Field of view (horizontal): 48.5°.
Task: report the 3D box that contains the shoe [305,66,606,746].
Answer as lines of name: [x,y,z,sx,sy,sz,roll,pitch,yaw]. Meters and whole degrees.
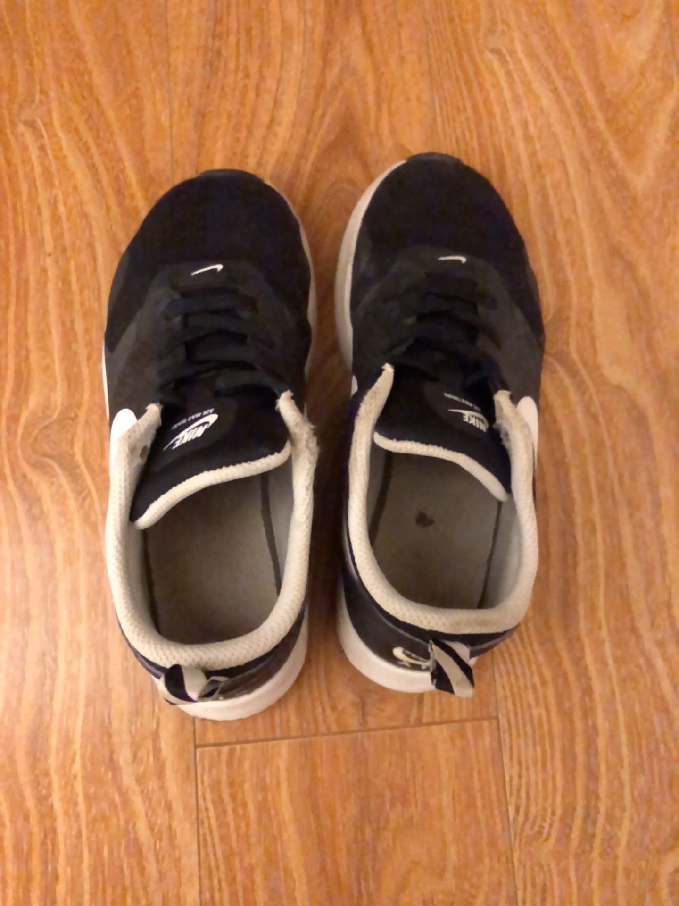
shoe: [0.043,-0.017,0.297,0.090,0.080,0.230,5,80,-5]

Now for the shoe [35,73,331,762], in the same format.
shoe: [-0.052,-0.014,0.290,0.090,0.080,0.230,0,81,-6]
